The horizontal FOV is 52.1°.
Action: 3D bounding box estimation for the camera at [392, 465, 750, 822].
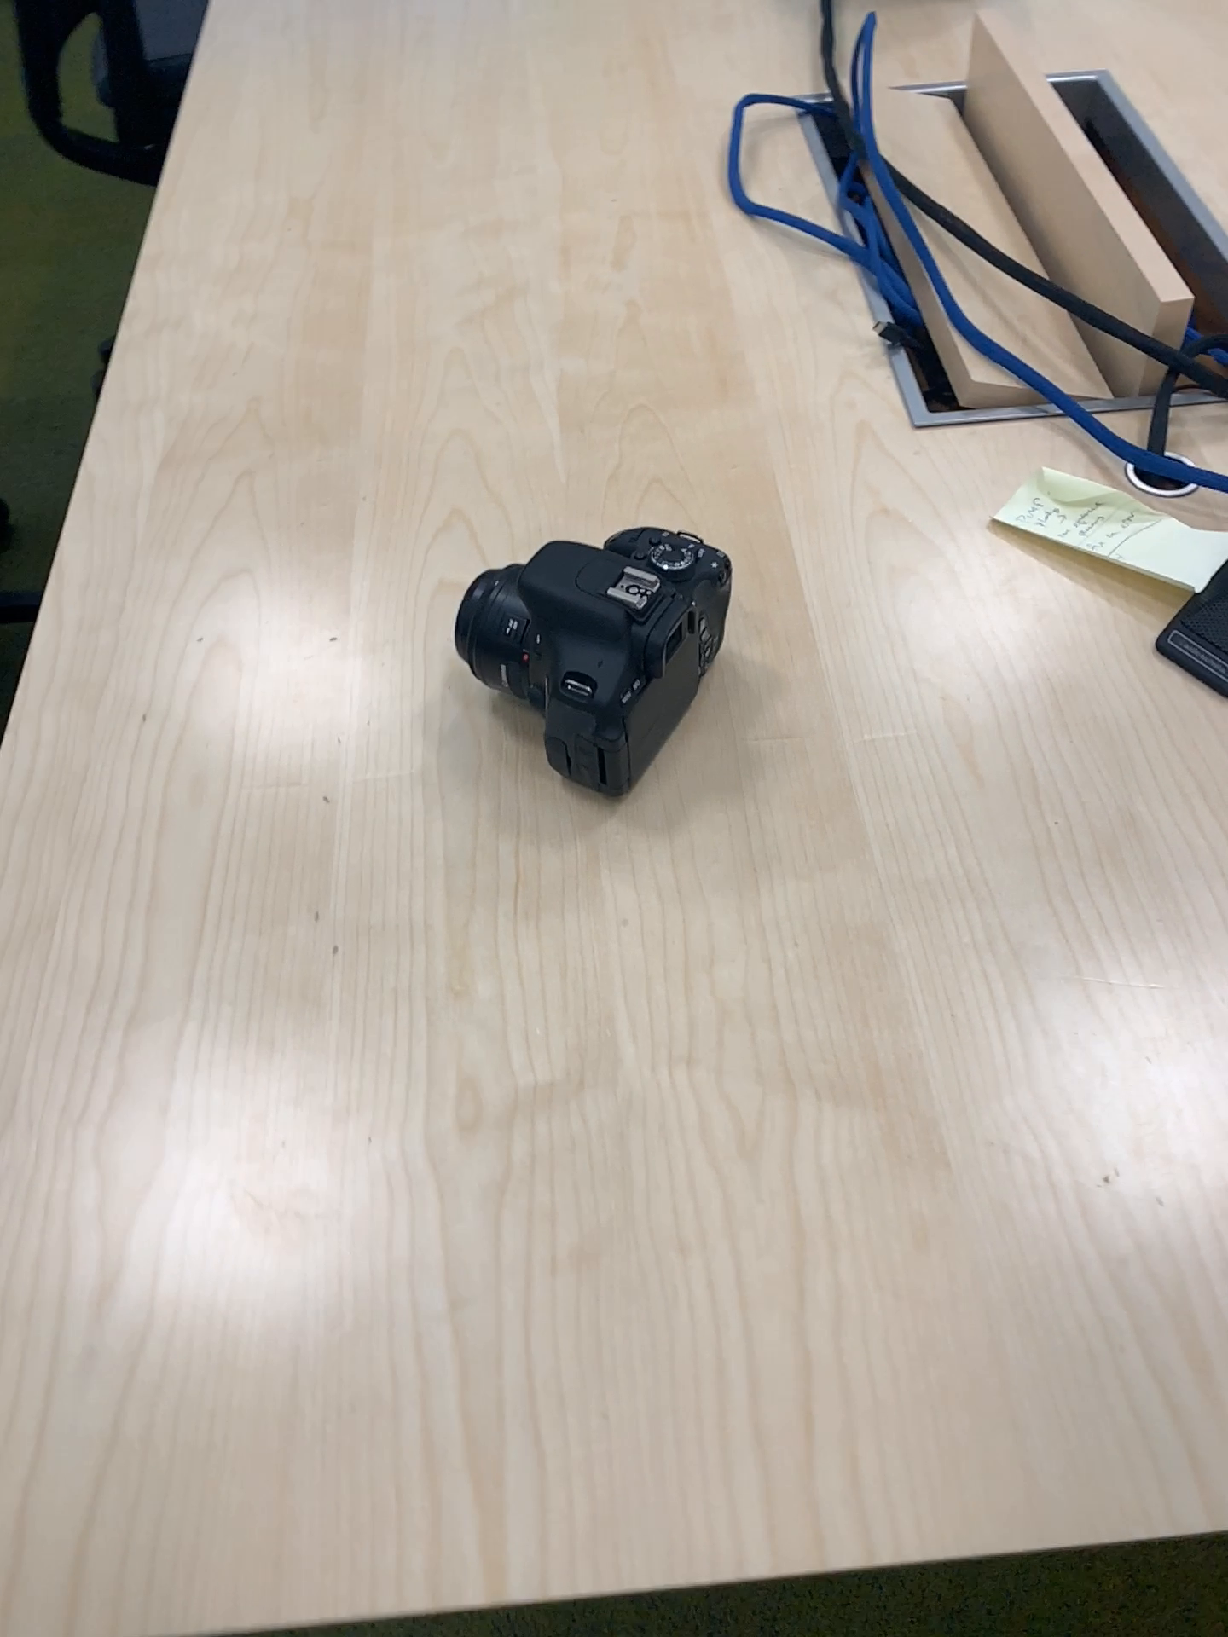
[{"bbox_3d":[-0.017,-0.093,0.644,0.127,0.085,0.130,22,56,19],"label":"camera"}]
